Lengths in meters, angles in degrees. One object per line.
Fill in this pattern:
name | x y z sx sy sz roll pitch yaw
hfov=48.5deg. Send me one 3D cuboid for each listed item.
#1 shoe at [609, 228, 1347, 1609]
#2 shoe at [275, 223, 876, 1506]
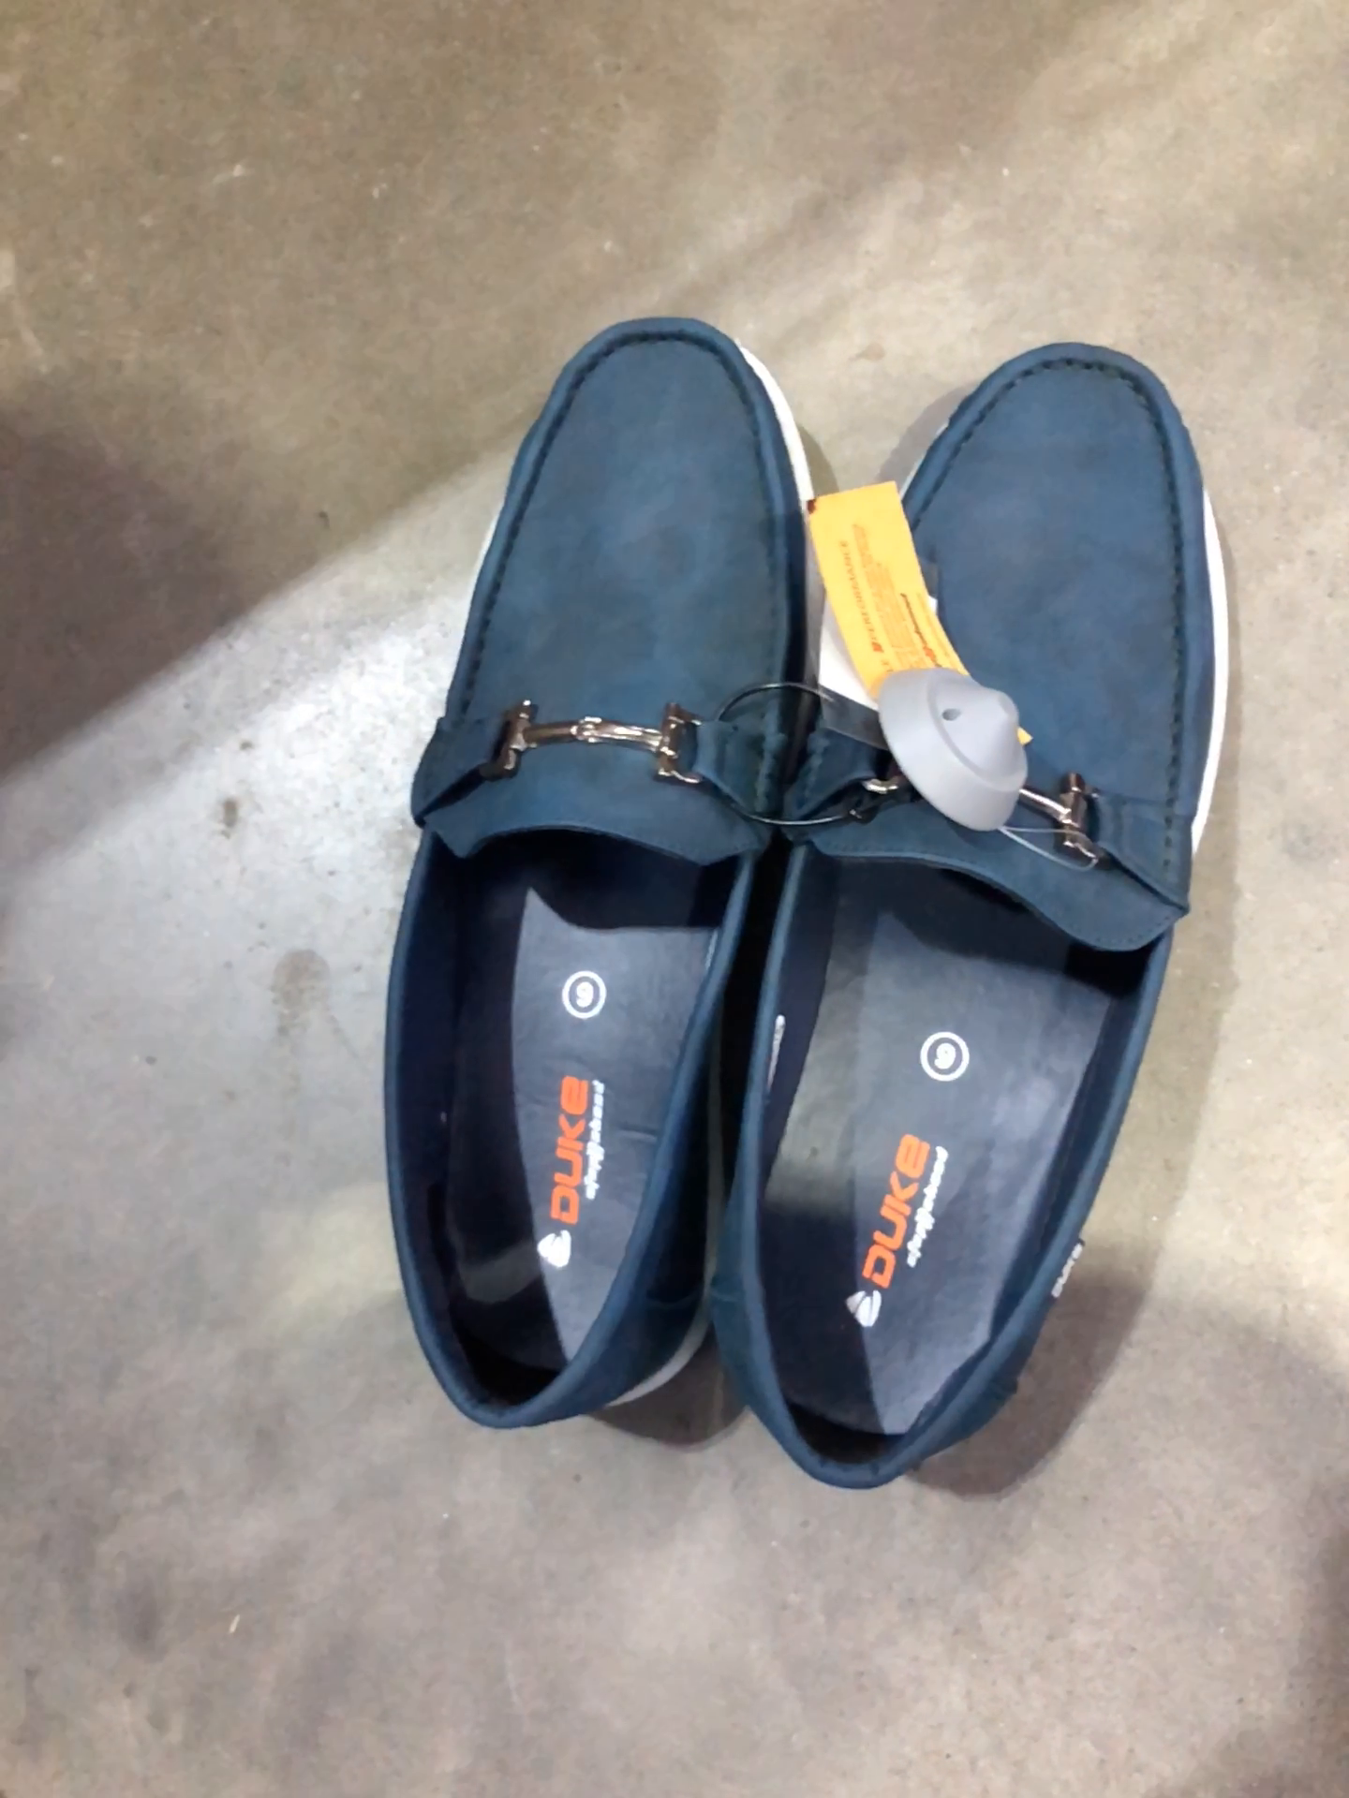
shoe | 0.078 -0.001 0.391 0.110 0.080 0.310 12 85 10
shoe | -0.018 -0.014 0.409 0.110 0.080 0.310 6 85 9
